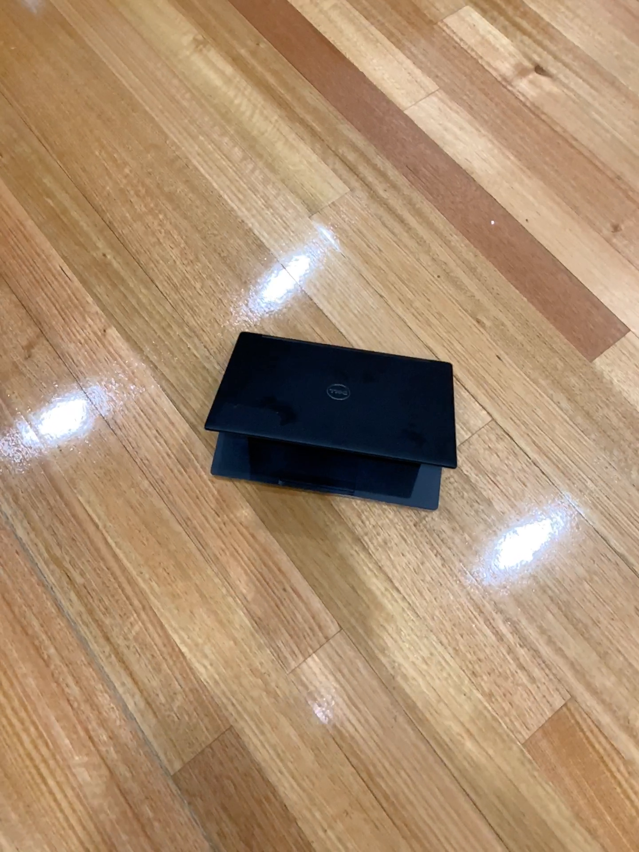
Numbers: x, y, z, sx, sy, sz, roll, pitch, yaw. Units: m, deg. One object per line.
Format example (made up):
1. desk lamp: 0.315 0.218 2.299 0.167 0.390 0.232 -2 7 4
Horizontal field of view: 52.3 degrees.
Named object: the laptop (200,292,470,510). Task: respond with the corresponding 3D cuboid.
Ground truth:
1. laptop: 0.025 -0.030 0.822 0.296 0.110 0.206 9 68 1
